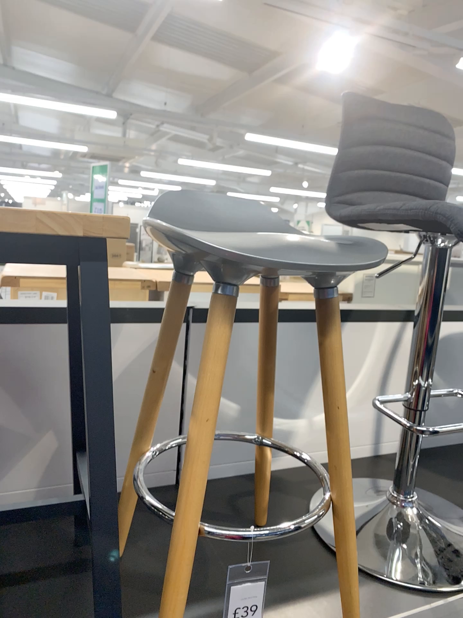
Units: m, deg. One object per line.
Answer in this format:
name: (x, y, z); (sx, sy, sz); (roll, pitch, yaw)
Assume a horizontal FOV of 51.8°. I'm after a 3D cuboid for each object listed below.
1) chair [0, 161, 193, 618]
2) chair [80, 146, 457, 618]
chair: (-0.374, 0.185, 0.723); (0.442, 0.688, 0.502); (1, 9, -25)
chair: (-0.003, 0.156, 0.843); (0.442, 0.738, 0.462); (1, 9, -23)
